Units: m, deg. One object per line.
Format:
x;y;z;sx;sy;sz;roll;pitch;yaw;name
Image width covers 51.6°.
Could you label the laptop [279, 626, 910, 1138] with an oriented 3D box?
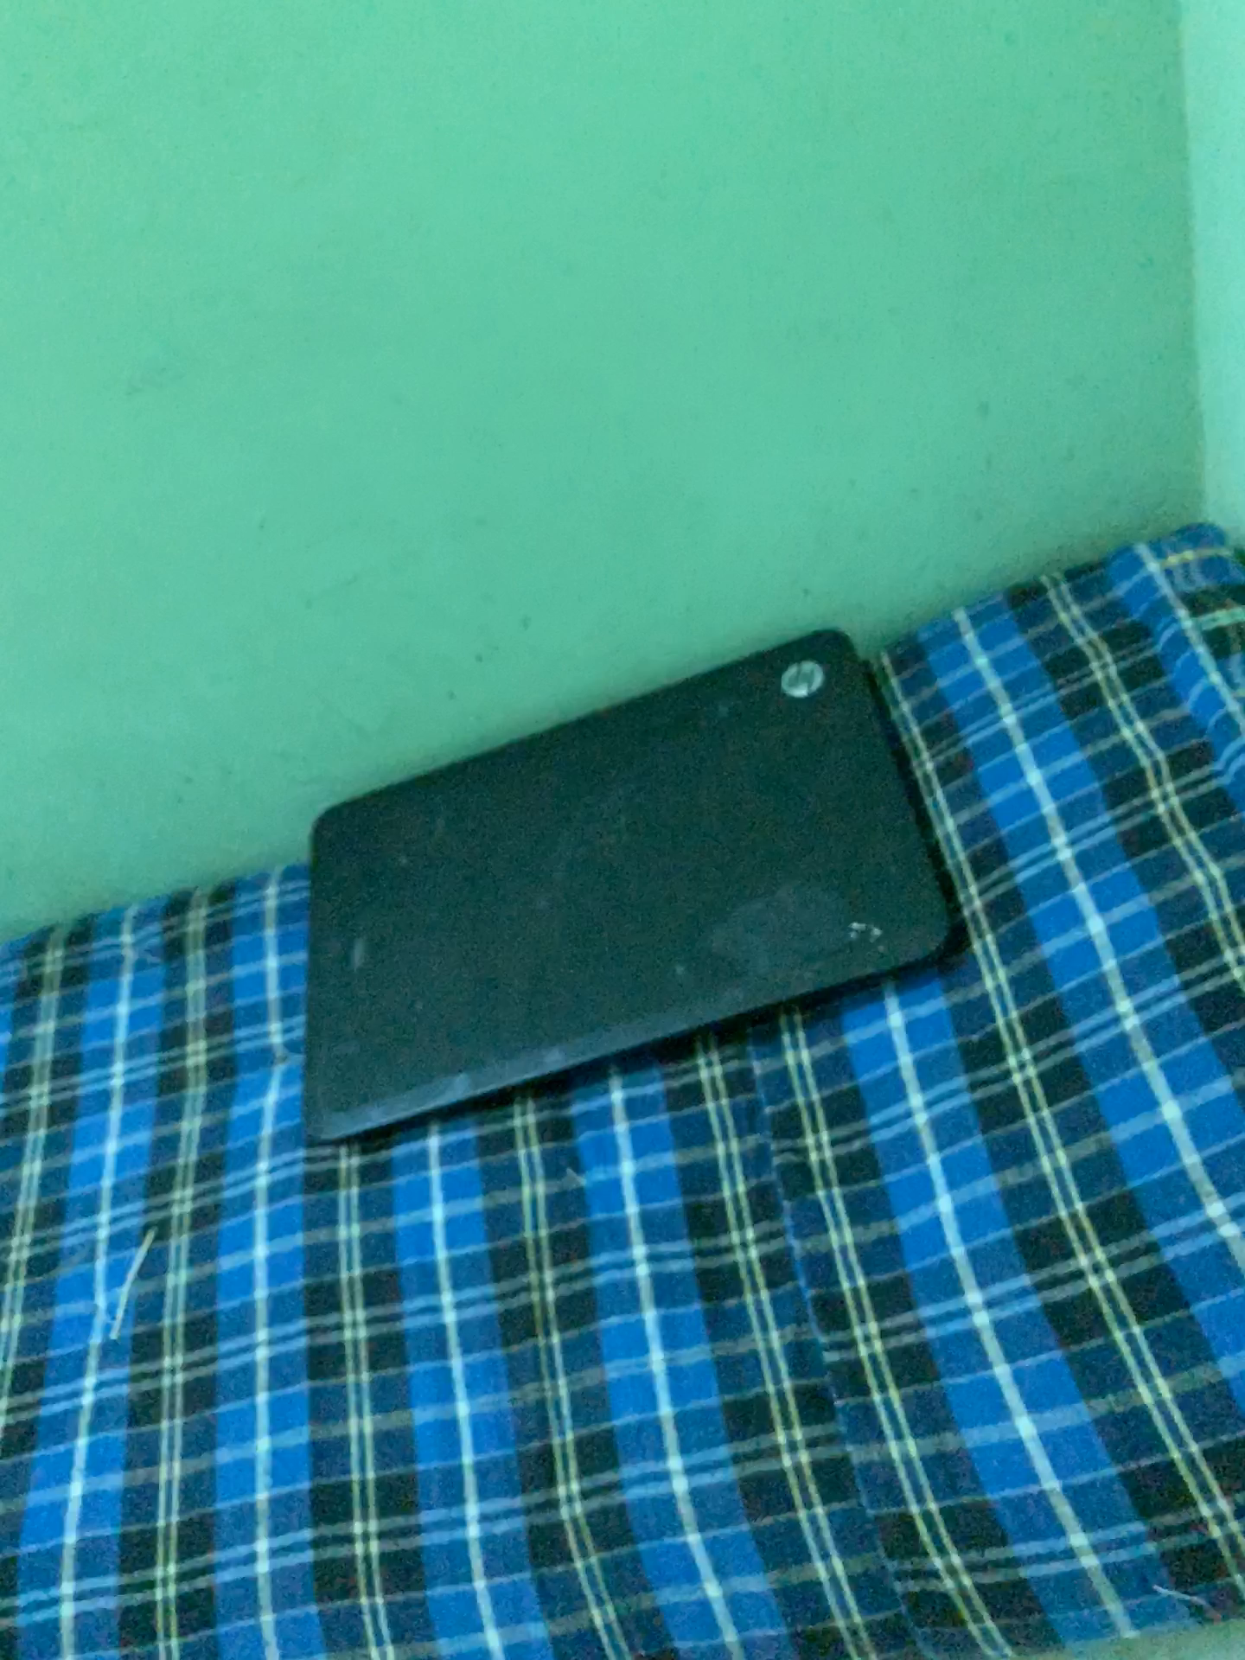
-0.035;0.024;0.734;0.346;0.018;0.217;-19;50;11;laptop
